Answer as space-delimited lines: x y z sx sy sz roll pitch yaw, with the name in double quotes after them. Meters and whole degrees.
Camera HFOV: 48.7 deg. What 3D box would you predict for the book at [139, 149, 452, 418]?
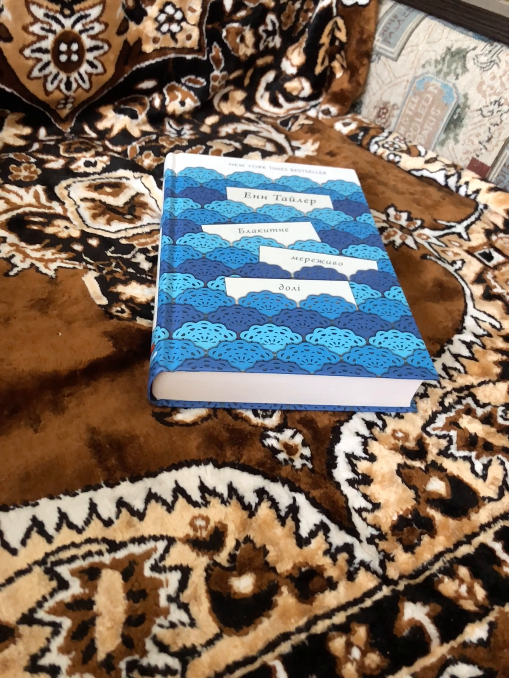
0.010 -0.051 0.365 0.154 0.030 0.234 3 42 -10 "book"
